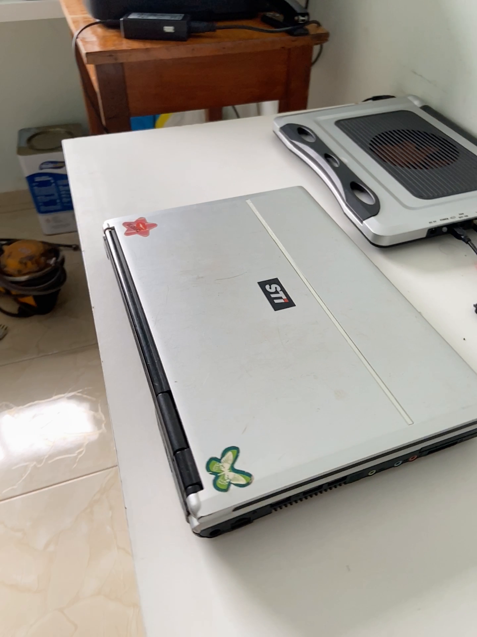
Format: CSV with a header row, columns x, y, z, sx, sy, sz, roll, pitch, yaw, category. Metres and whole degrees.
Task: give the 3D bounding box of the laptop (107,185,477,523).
x,y,z,sx,sy,sz,roll,pitch,yaw,category
0.026,-0.018,0.443,0.234,0.004,0.340,-14,46,-15,laptop
